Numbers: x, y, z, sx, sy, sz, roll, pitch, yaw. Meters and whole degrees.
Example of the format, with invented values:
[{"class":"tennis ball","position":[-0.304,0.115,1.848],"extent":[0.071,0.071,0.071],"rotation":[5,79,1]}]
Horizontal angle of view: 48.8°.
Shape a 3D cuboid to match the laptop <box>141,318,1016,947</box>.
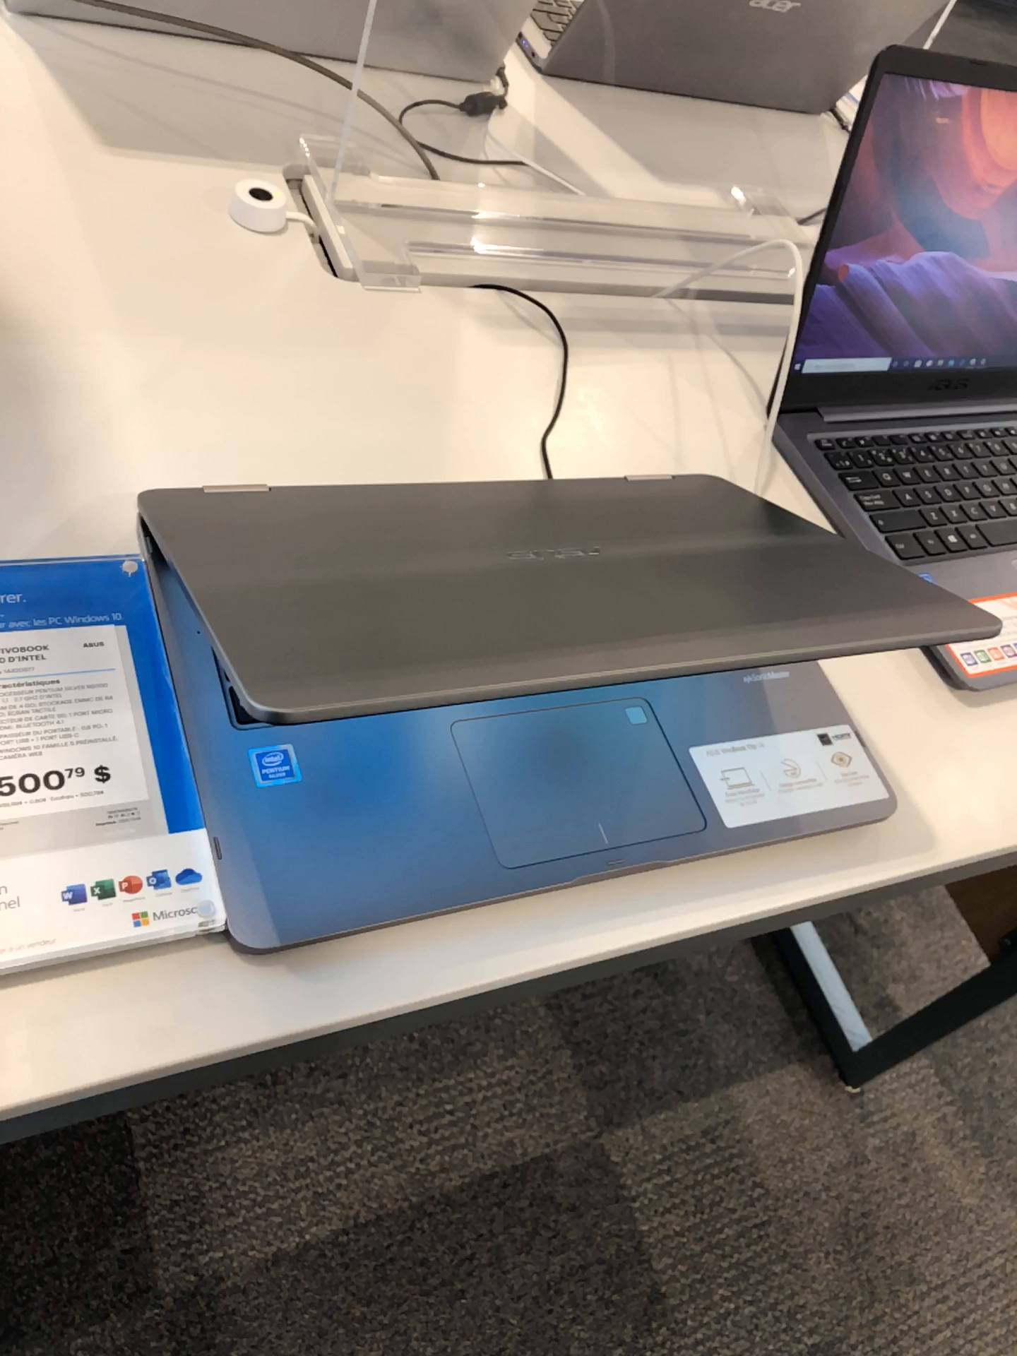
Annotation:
[{"class":"laptop","position":[0.030,-0.038,0.484],"extent":[0.322,0.105,0.215],"rotation":[-6,56,-26]}]
